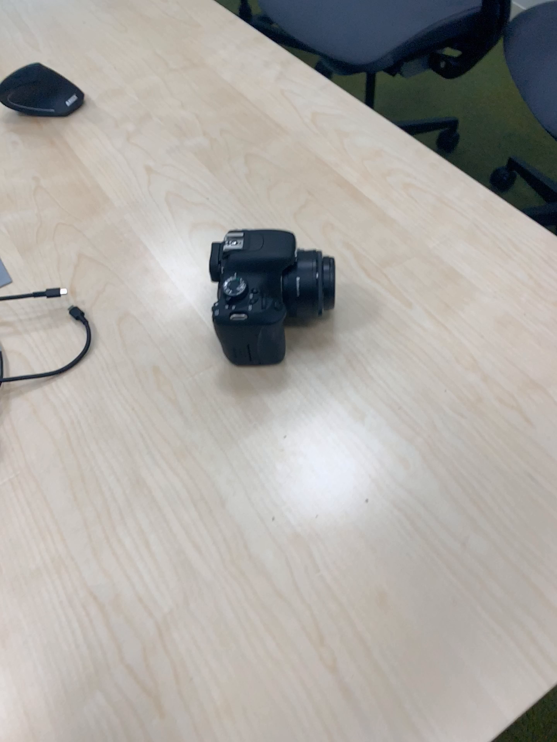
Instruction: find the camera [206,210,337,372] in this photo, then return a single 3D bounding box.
[{"bbox_3d":[-0.001,-0.082,0.595,0.118,0.100,0.130,-1,55,4],"label":"camera"}]
